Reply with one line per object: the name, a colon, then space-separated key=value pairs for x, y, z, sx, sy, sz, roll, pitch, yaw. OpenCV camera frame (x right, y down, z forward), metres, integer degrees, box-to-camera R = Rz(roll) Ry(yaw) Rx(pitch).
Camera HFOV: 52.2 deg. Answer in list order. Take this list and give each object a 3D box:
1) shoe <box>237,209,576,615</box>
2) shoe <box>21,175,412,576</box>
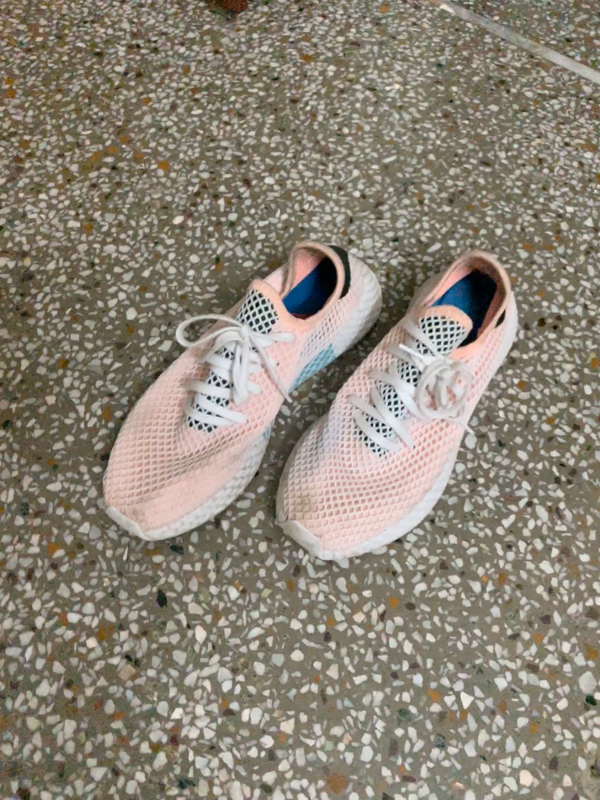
shoe: x=0.091 y=0.000 z=0.506 sx=0.122 sy=0.100 sz=0.309 roll=32 pitch=66 yaw=12
shoe: x=-0.050 y=-0.029 z=0.502 sx=0.122 sy=0.100 sz=0.309 roll=34 pitch=67 yaw=13
